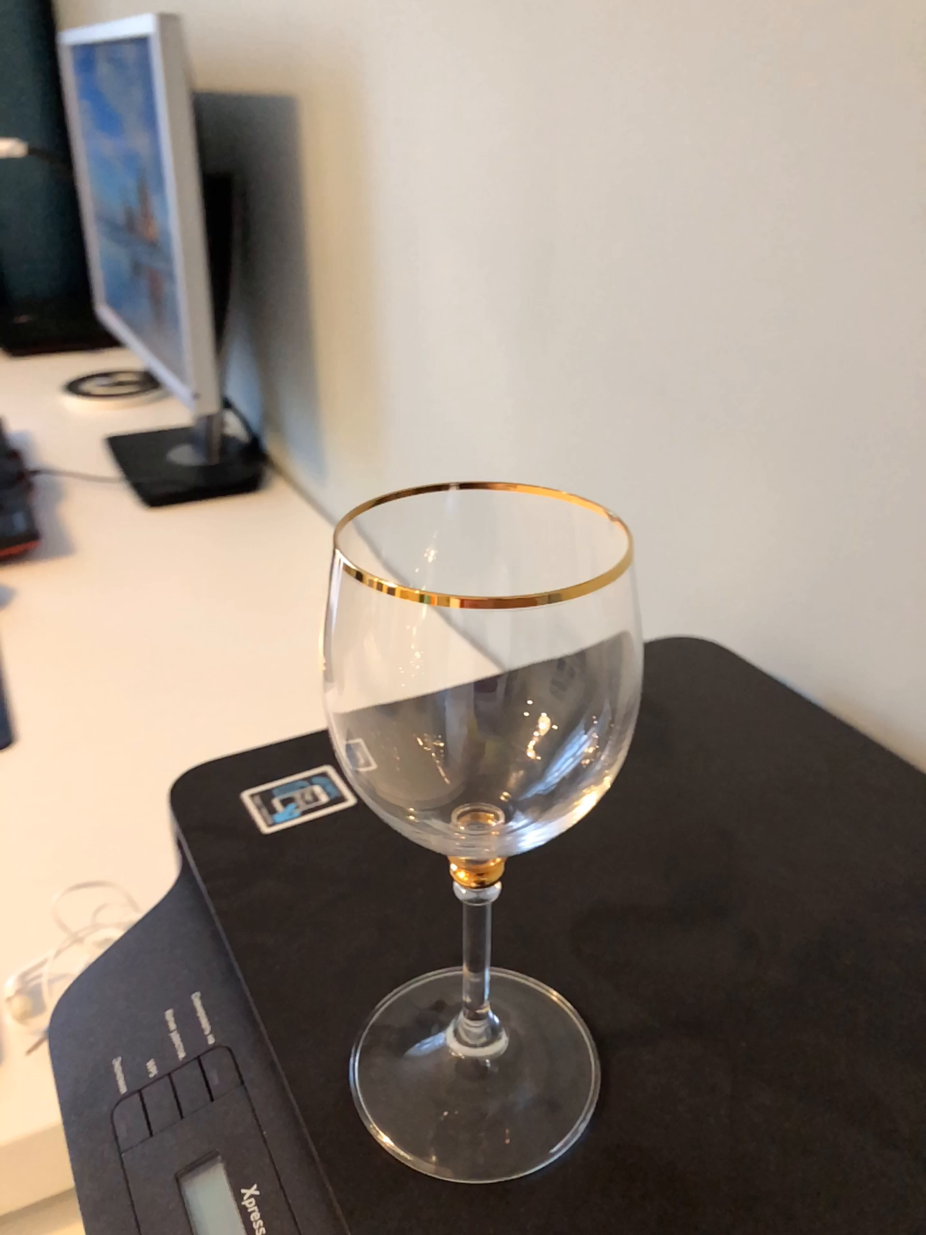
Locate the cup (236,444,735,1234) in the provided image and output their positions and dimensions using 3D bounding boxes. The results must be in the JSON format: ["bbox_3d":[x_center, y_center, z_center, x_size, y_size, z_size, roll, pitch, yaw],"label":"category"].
[{"bbox_3d":[-0.002,0.056,0.274,0.086,0.177,0.087,1,26,-1],"label":"cup"}]
